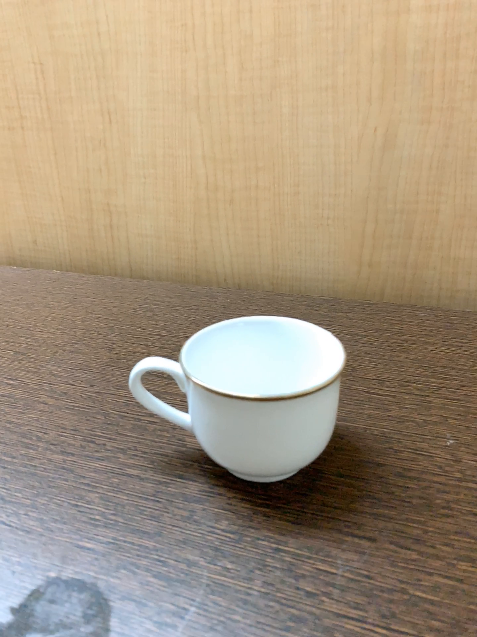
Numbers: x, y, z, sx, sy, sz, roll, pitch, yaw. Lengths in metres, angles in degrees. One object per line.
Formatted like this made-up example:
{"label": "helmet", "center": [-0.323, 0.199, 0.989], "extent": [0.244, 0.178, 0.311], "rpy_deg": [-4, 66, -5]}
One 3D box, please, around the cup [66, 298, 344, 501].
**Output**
{"label": "cup", "center": [-0.008, 0.027, 0.195], "extent": [0.090, 0.050, 0.060], "rpy_deg": [2, 24, 6]}
